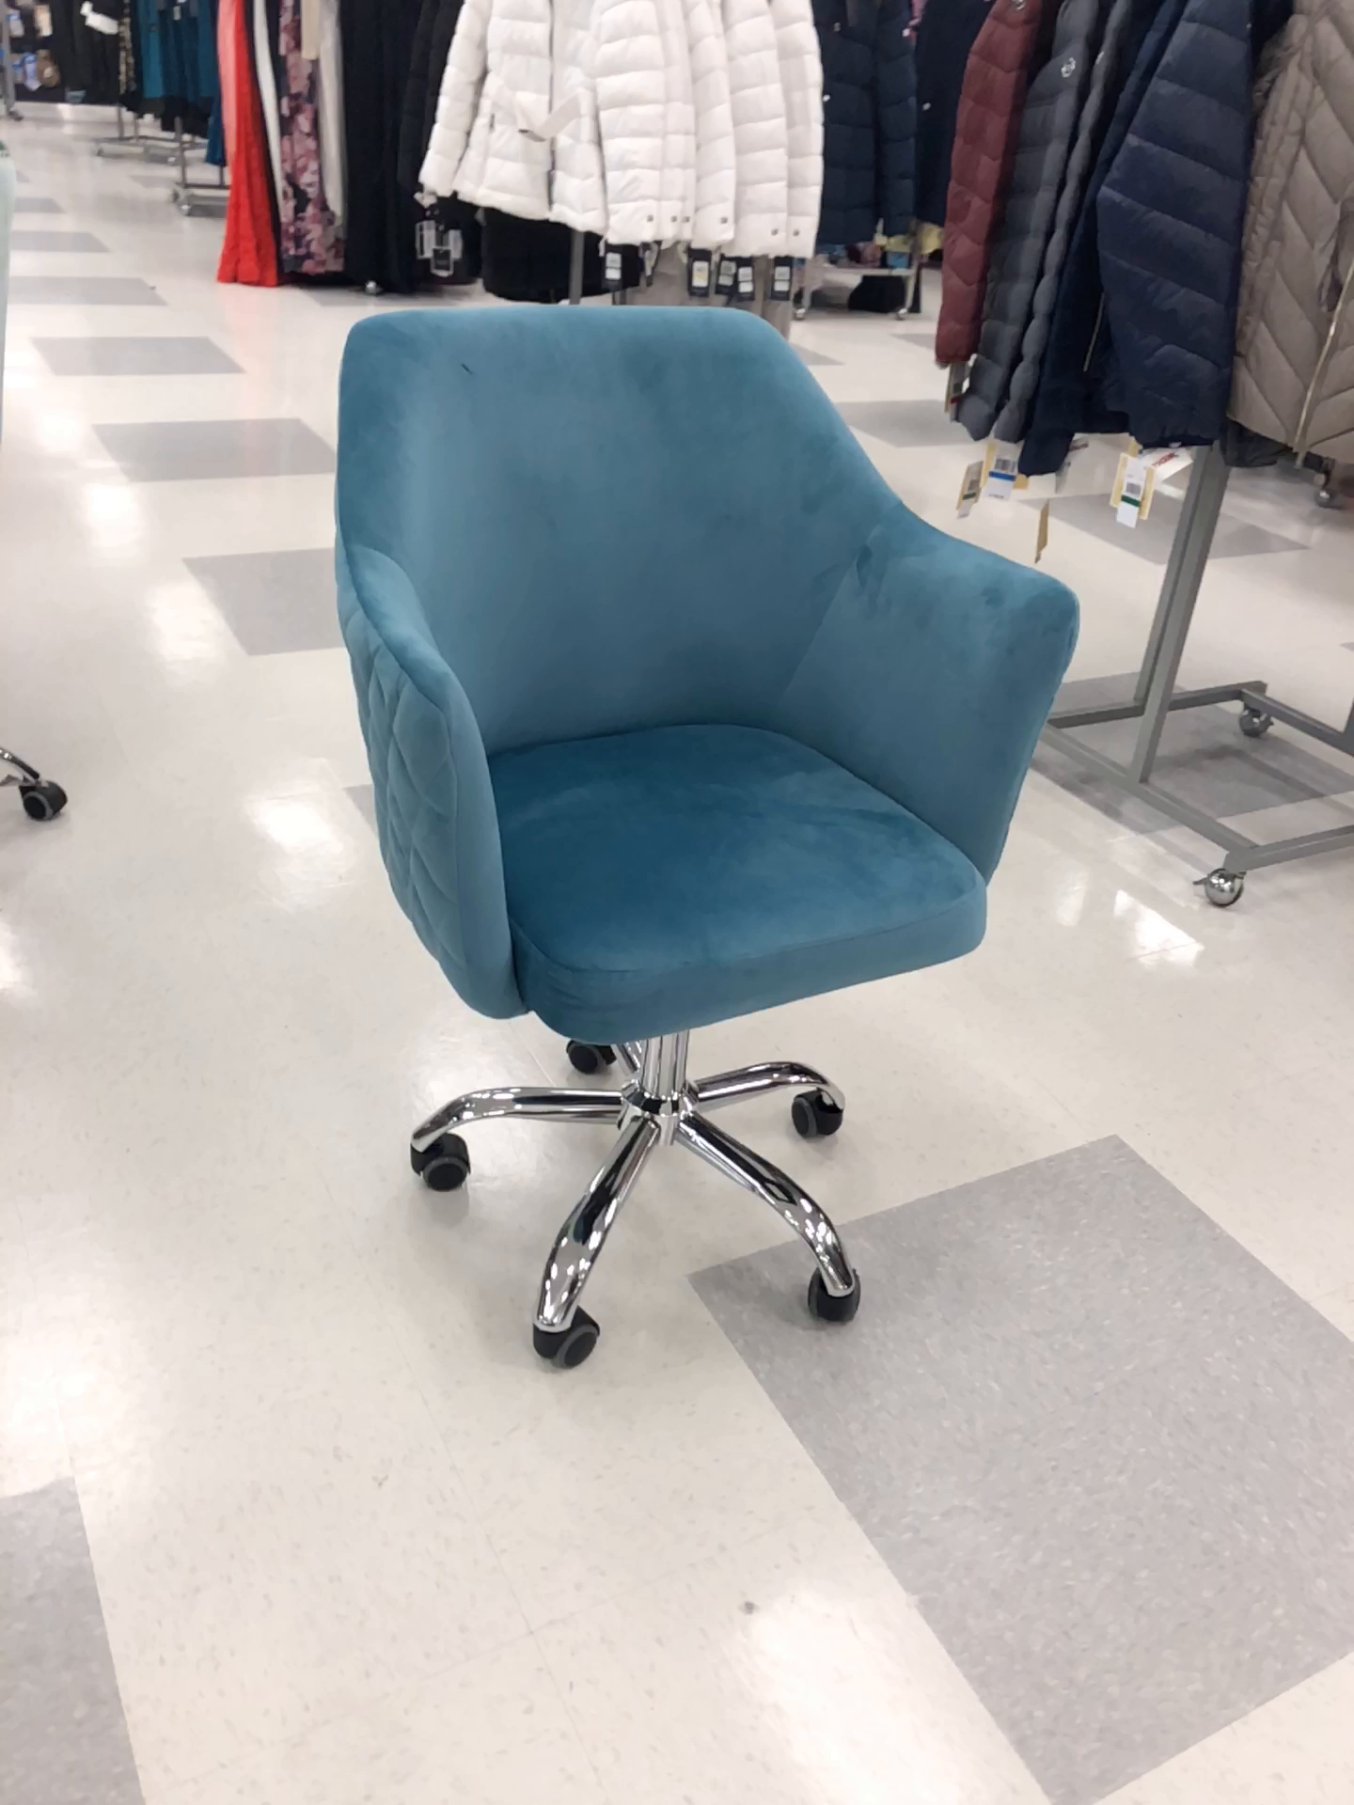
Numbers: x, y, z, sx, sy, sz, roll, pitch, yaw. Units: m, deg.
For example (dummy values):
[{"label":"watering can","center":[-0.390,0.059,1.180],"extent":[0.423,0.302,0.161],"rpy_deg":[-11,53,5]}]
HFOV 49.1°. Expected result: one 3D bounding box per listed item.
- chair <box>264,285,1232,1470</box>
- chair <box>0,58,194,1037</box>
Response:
[{"label":"chair","center":[-0.006,-0.069,1.429],"extent":[0.596,0.887,0.564],"rpy_deg":[-10,33,-26]},{"label":"chair","center":[-1.180,-0.507,1.944],"extent":[0.735,0.967,0.655],"rpy_deg":[23,34,28]}]
